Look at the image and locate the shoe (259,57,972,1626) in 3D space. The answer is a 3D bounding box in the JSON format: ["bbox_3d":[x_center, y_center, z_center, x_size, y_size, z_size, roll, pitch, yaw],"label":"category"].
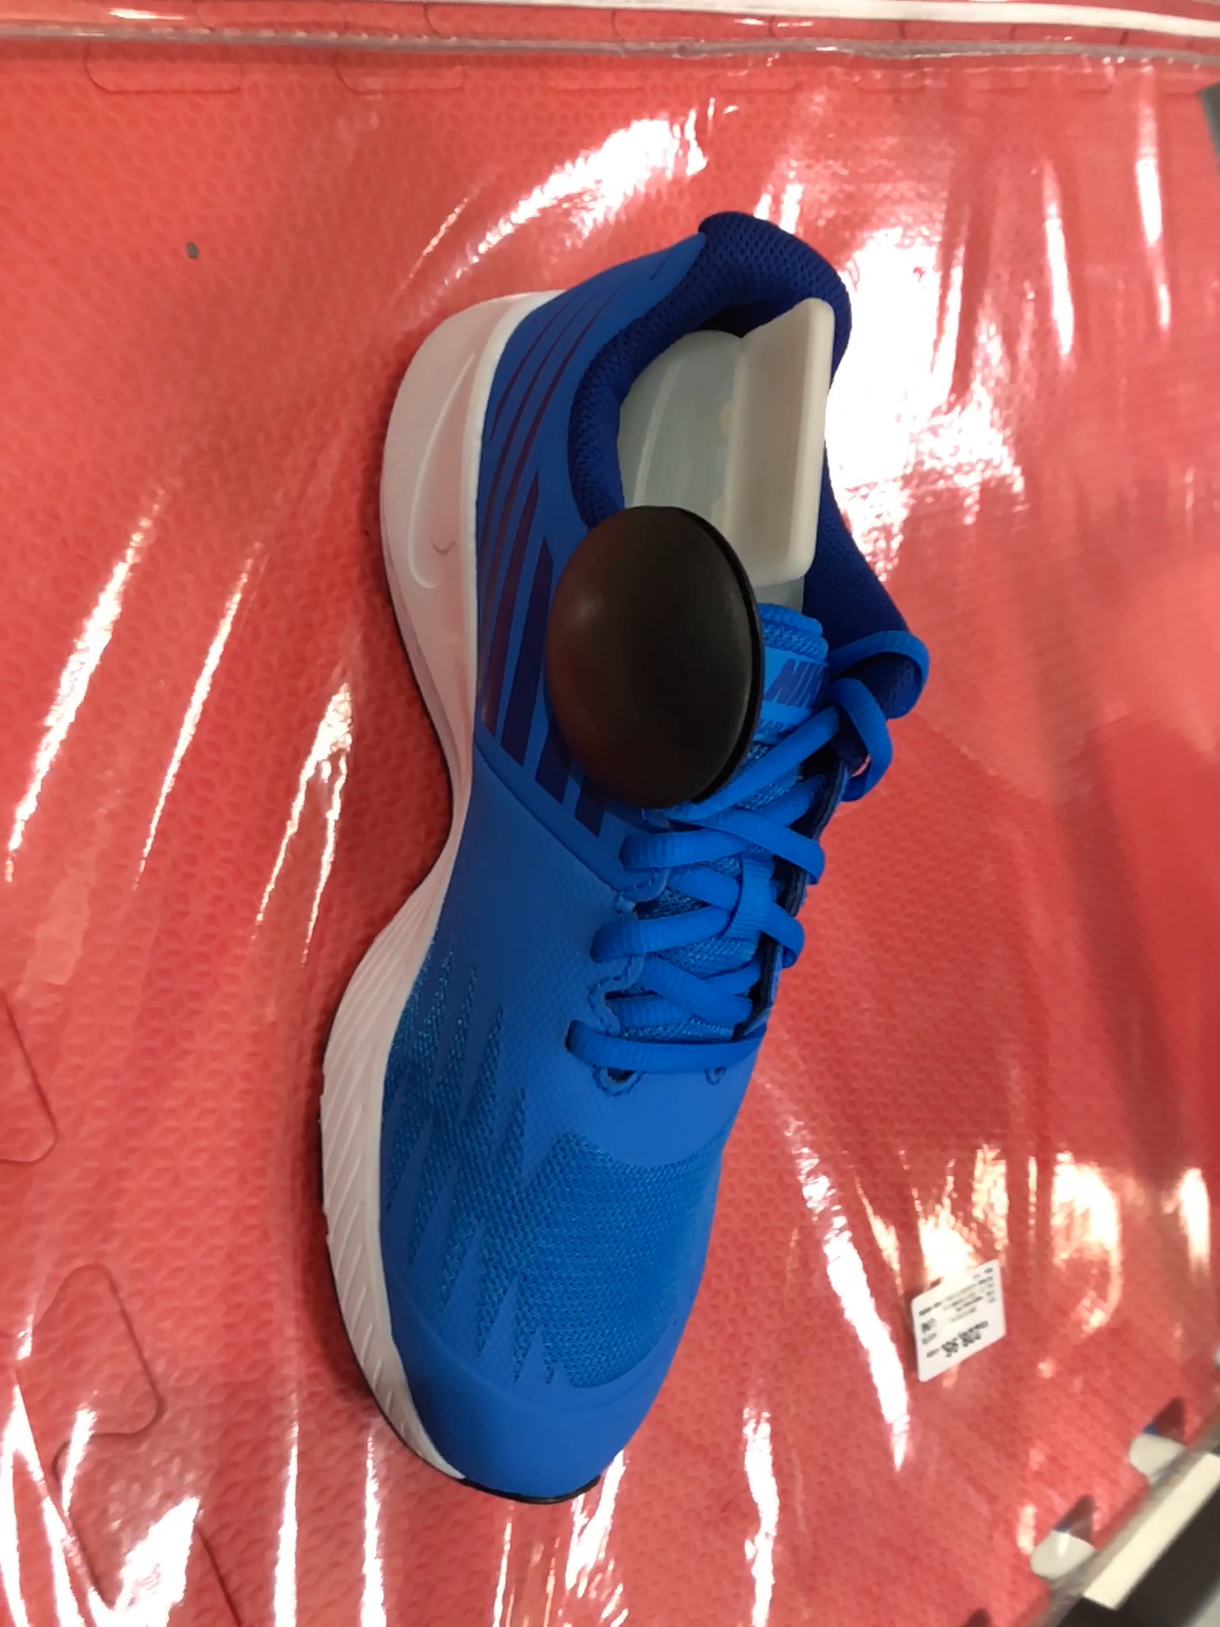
[{"bbox_3d":[0.003,0.009,0.301,0.101,0.099,0.280,9,81,-37],"label":"shoe"}]
